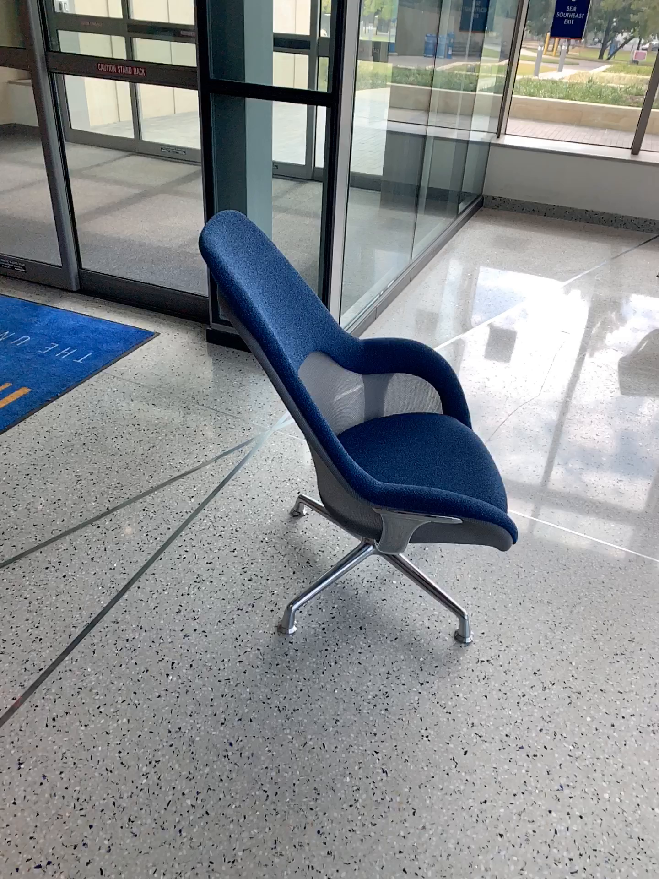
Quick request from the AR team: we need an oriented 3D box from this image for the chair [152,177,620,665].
[{"bbox_3d":[0.072,-0.062,1.679,0.784,0.933,0.730,3,33,-2],"label":"chair"}]
